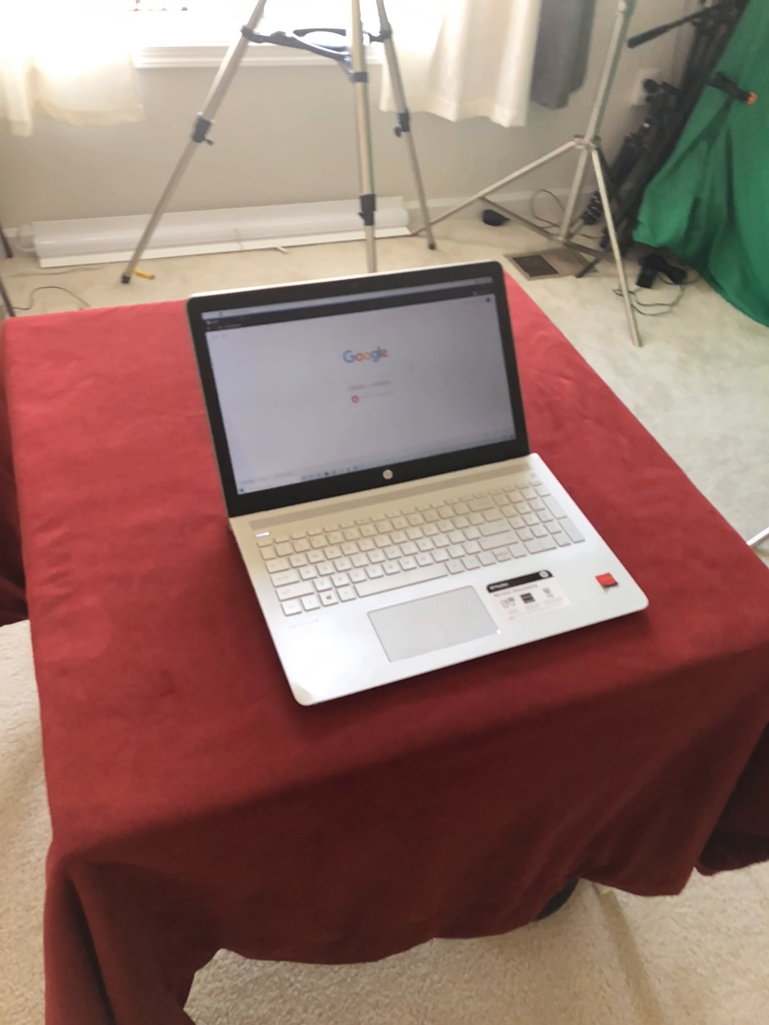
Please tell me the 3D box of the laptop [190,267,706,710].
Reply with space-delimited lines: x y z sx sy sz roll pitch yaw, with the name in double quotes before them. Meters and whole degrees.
"laptop" 0.032 -0.058 0.846 0.360 0.158 0.397 -12 48 -19
